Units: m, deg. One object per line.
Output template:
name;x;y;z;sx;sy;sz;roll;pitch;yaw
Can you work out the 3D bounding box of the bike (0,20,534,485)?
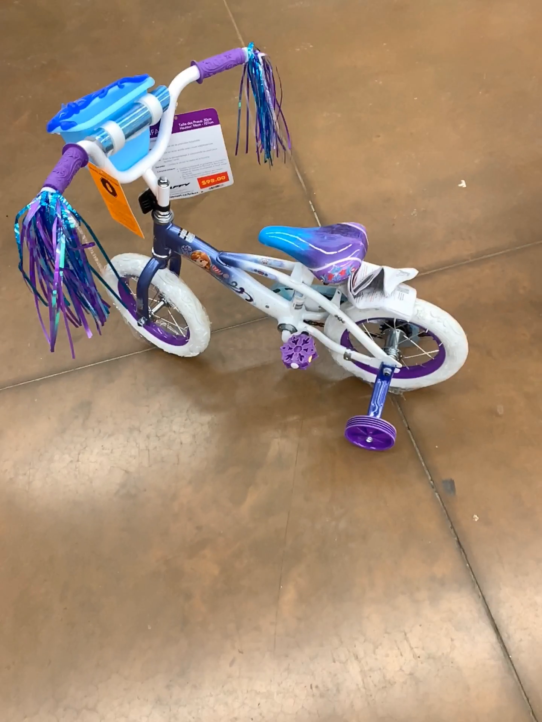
bike;0.031;-0.151;1.013;0.651;0.643;0.474;7;58;13
